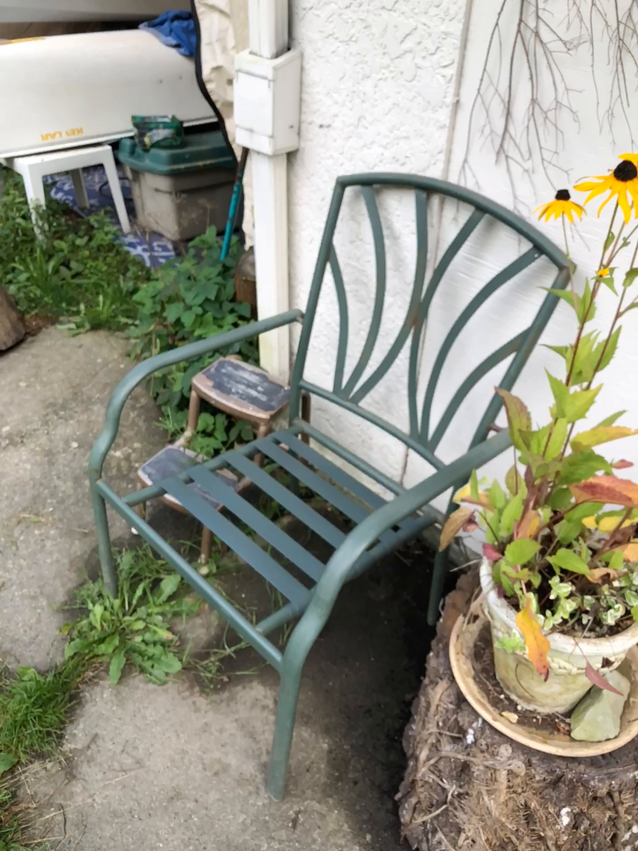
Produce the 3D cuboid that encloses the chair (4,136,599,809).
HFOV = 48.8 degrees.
[{"bbox_3d":[-0.036,0.031,1.346,0.682,0.904,0.623,-28,45,-36],"label":"chair"}]
